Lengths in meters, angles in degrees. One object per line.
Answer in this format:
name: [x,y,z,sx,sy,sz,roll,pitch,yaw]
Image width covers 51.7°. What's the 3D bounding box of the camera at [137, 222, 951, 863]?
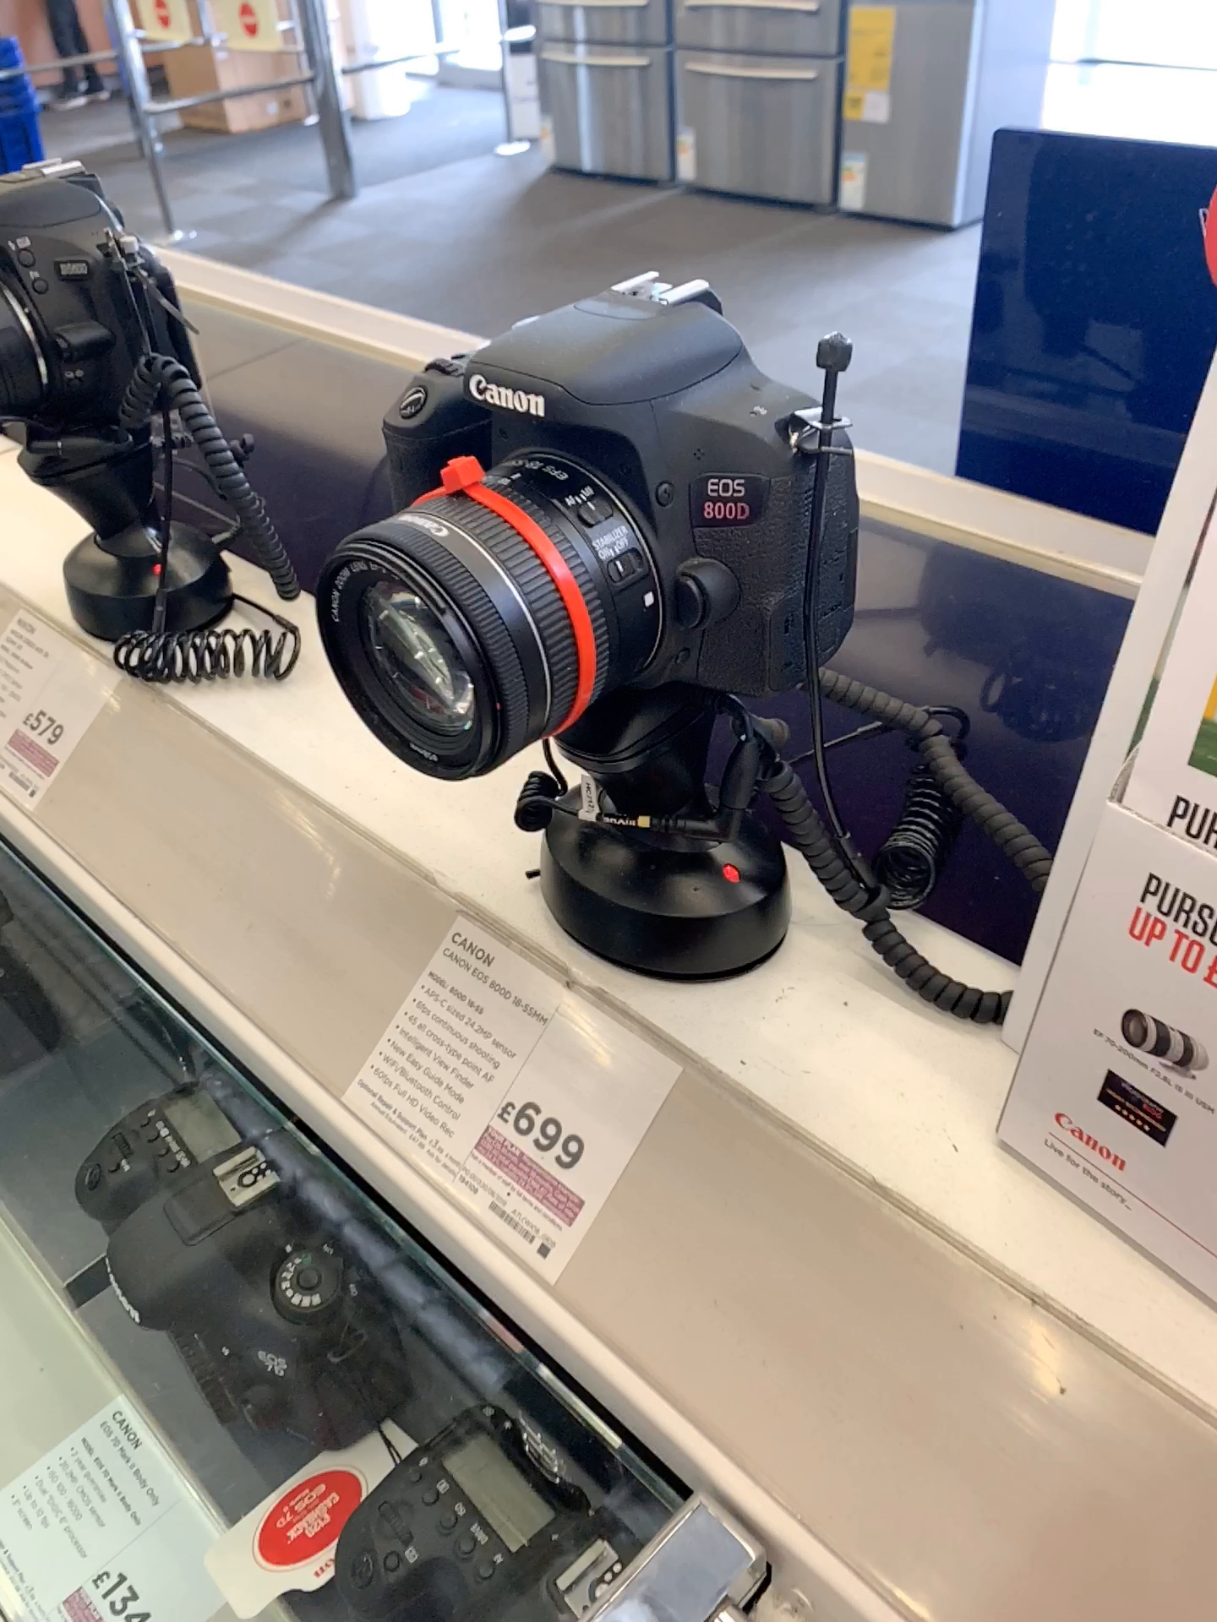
camera: [-0.011,-0.084,0.331,0.141,0.089,0.141,24,46,31]
